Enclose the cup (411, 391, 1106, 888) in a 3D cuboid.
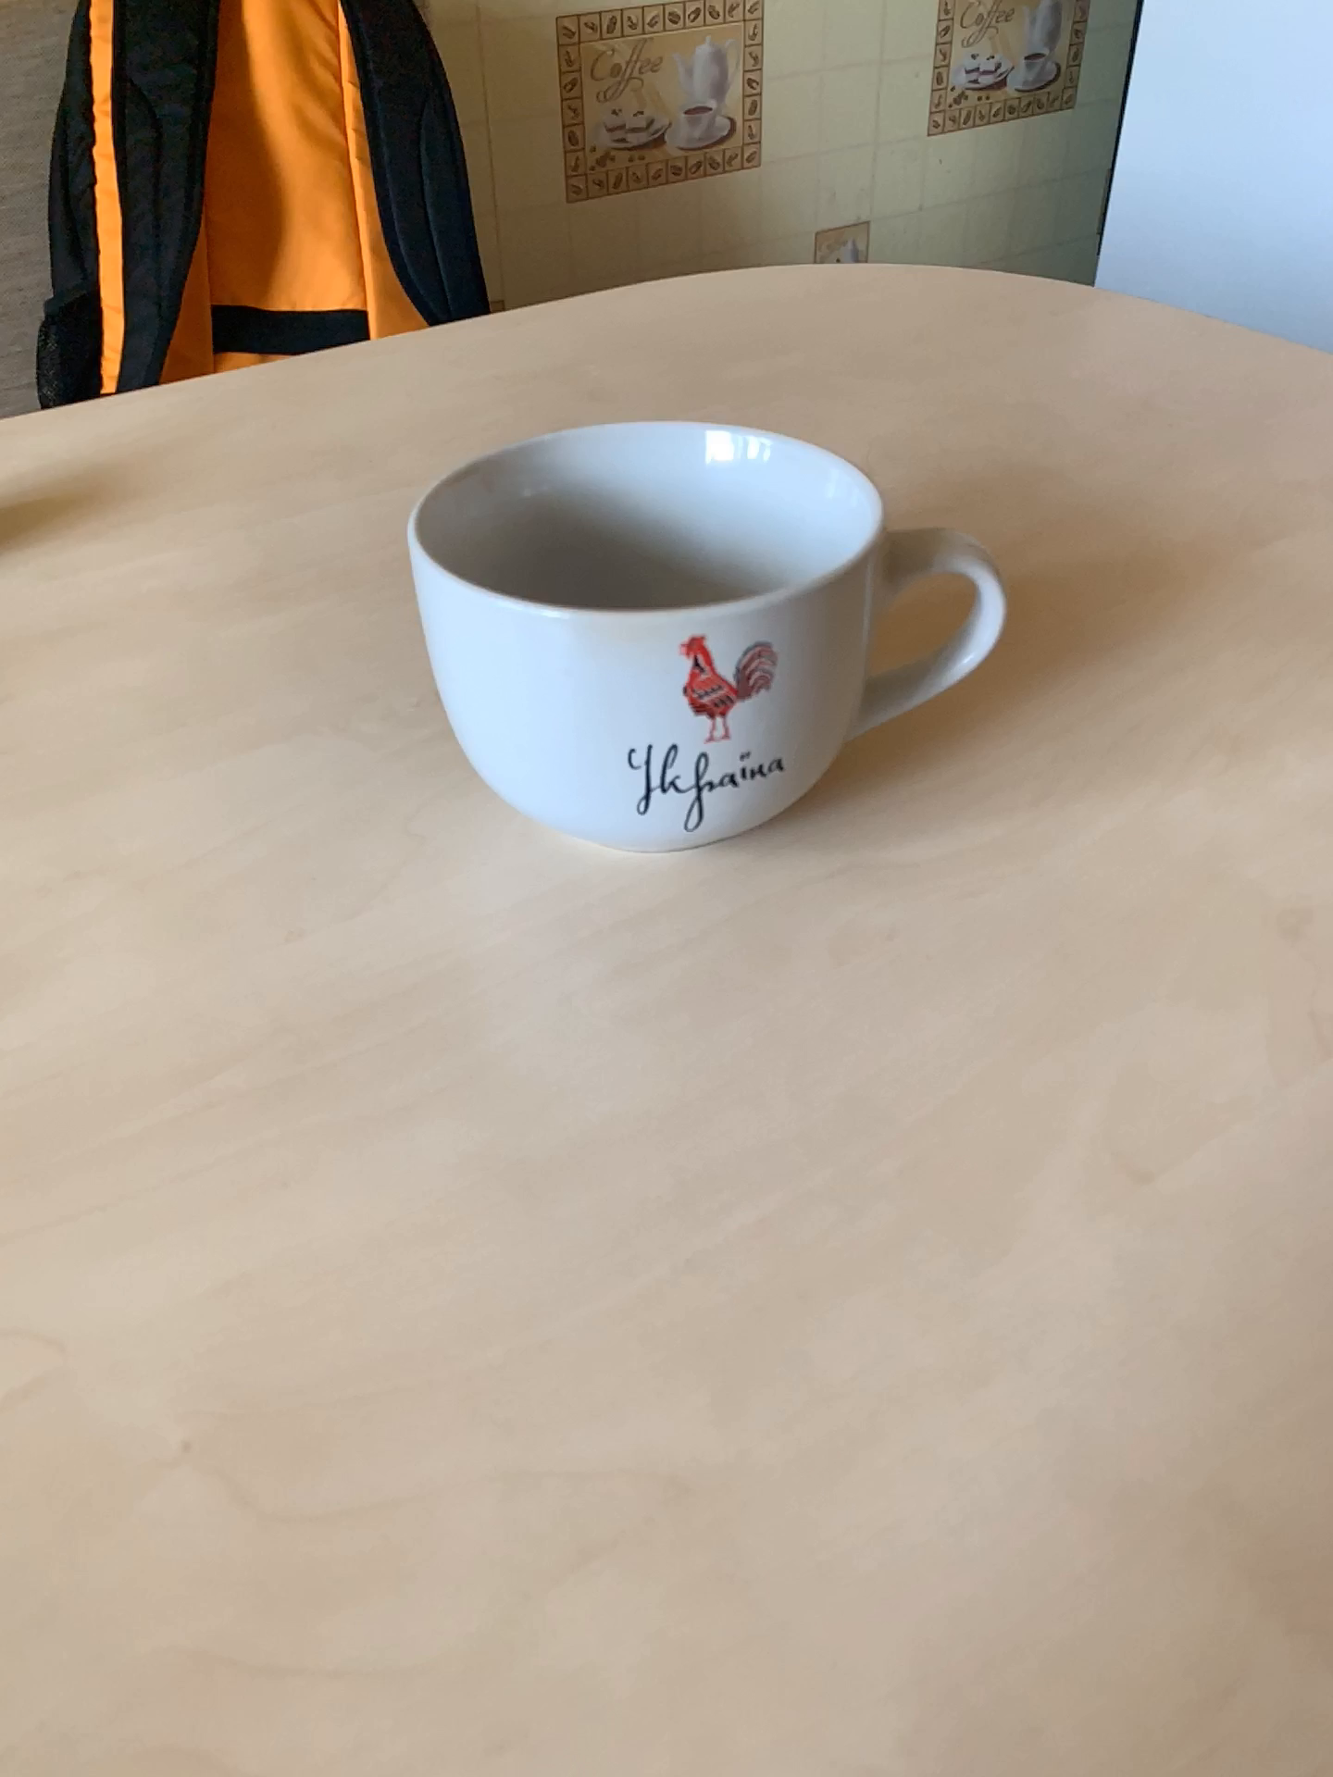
[{"bbox_3d":[0.013,-0.063,0.313,0.130,0.060,0.100,-7,39,-8],"label":"cup"}]
